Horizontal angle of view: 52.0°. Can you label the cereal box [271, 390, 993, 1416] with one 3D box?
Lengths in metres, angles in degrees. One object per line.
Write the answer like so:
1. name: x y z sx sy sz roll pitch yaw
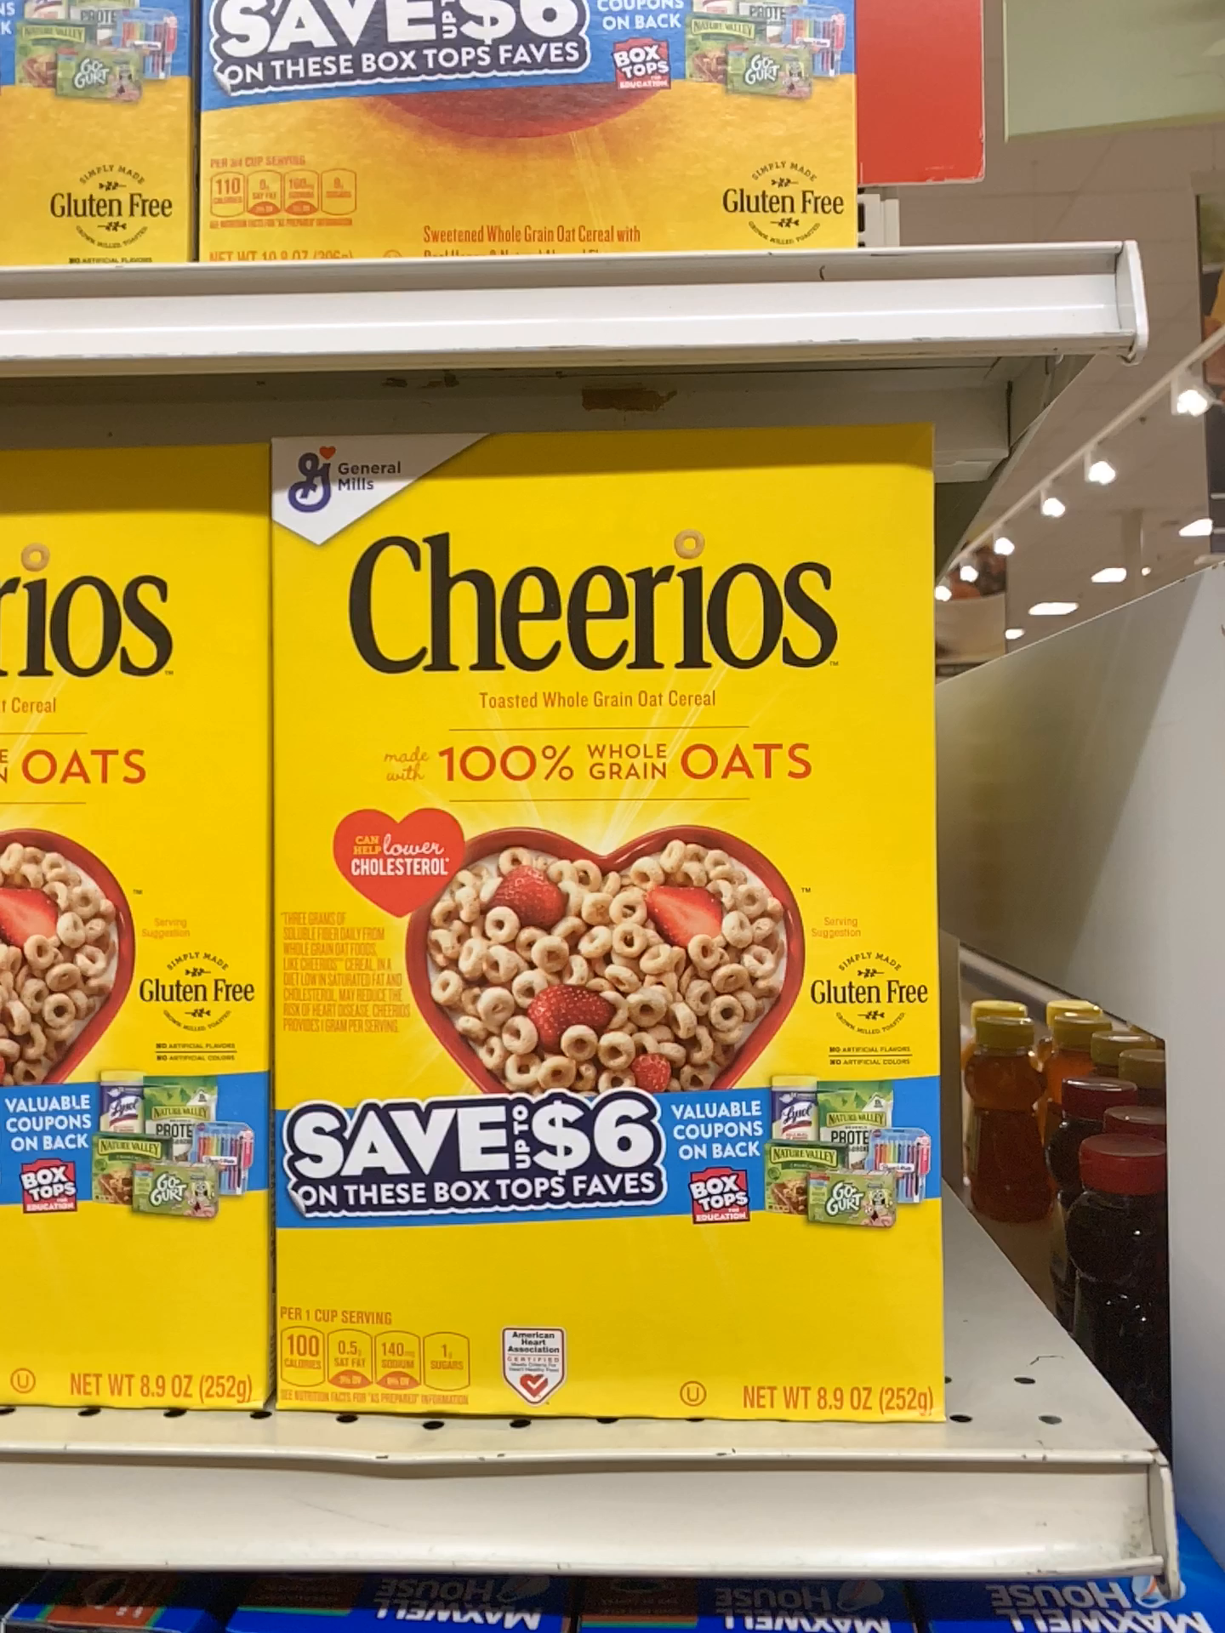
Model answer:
1. cereal box: 0.005 0.023 0.361 0.190 0.270 0.050 -1 0 3
